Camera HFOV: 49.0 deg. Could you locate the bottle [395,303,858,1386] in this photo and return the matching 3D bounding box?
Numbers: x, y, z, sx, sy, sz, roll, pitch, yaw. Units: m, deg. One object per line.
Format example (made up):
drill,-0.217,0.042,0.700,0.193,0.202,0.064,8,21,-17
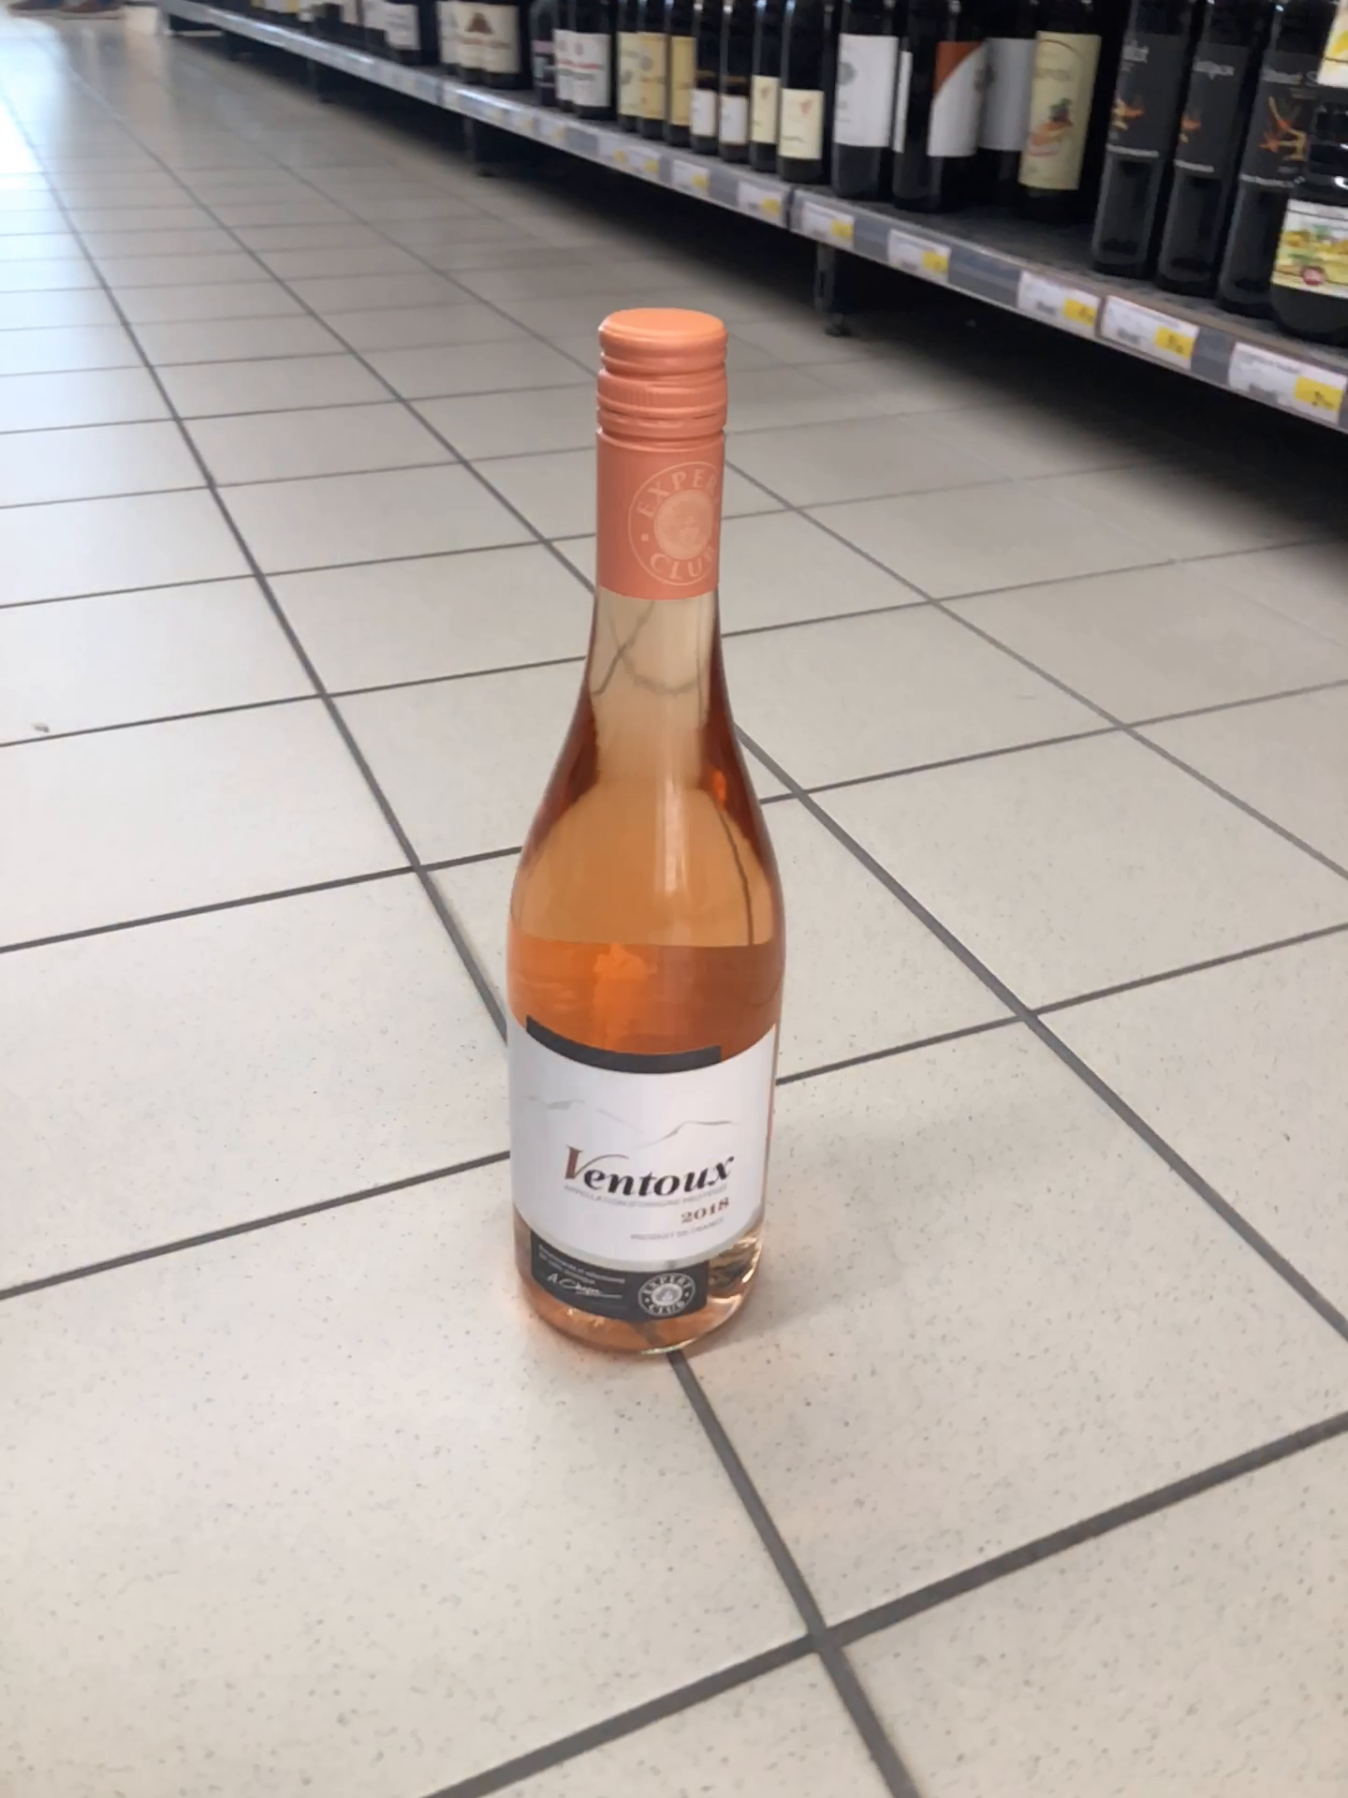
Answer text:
bottle,-0.009,-0.001,0.393,0.090,0.278,0.081,3,31,3
